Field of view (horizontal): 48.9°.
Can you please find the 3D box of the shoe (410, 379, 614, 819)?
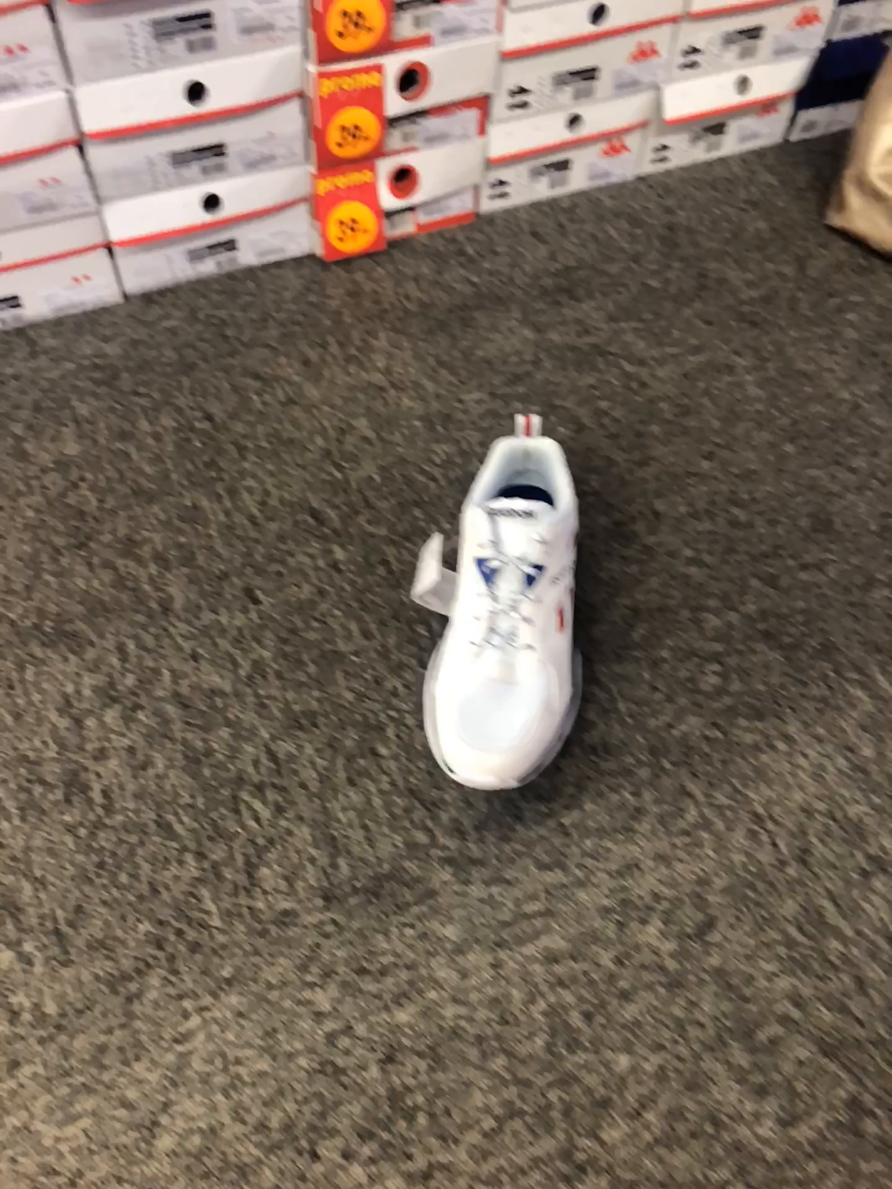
[{"bbox_3d":[0.052,-0.005,0.721,0.113,0.110,0.301,8,57,1],"label":"shoe"}]
